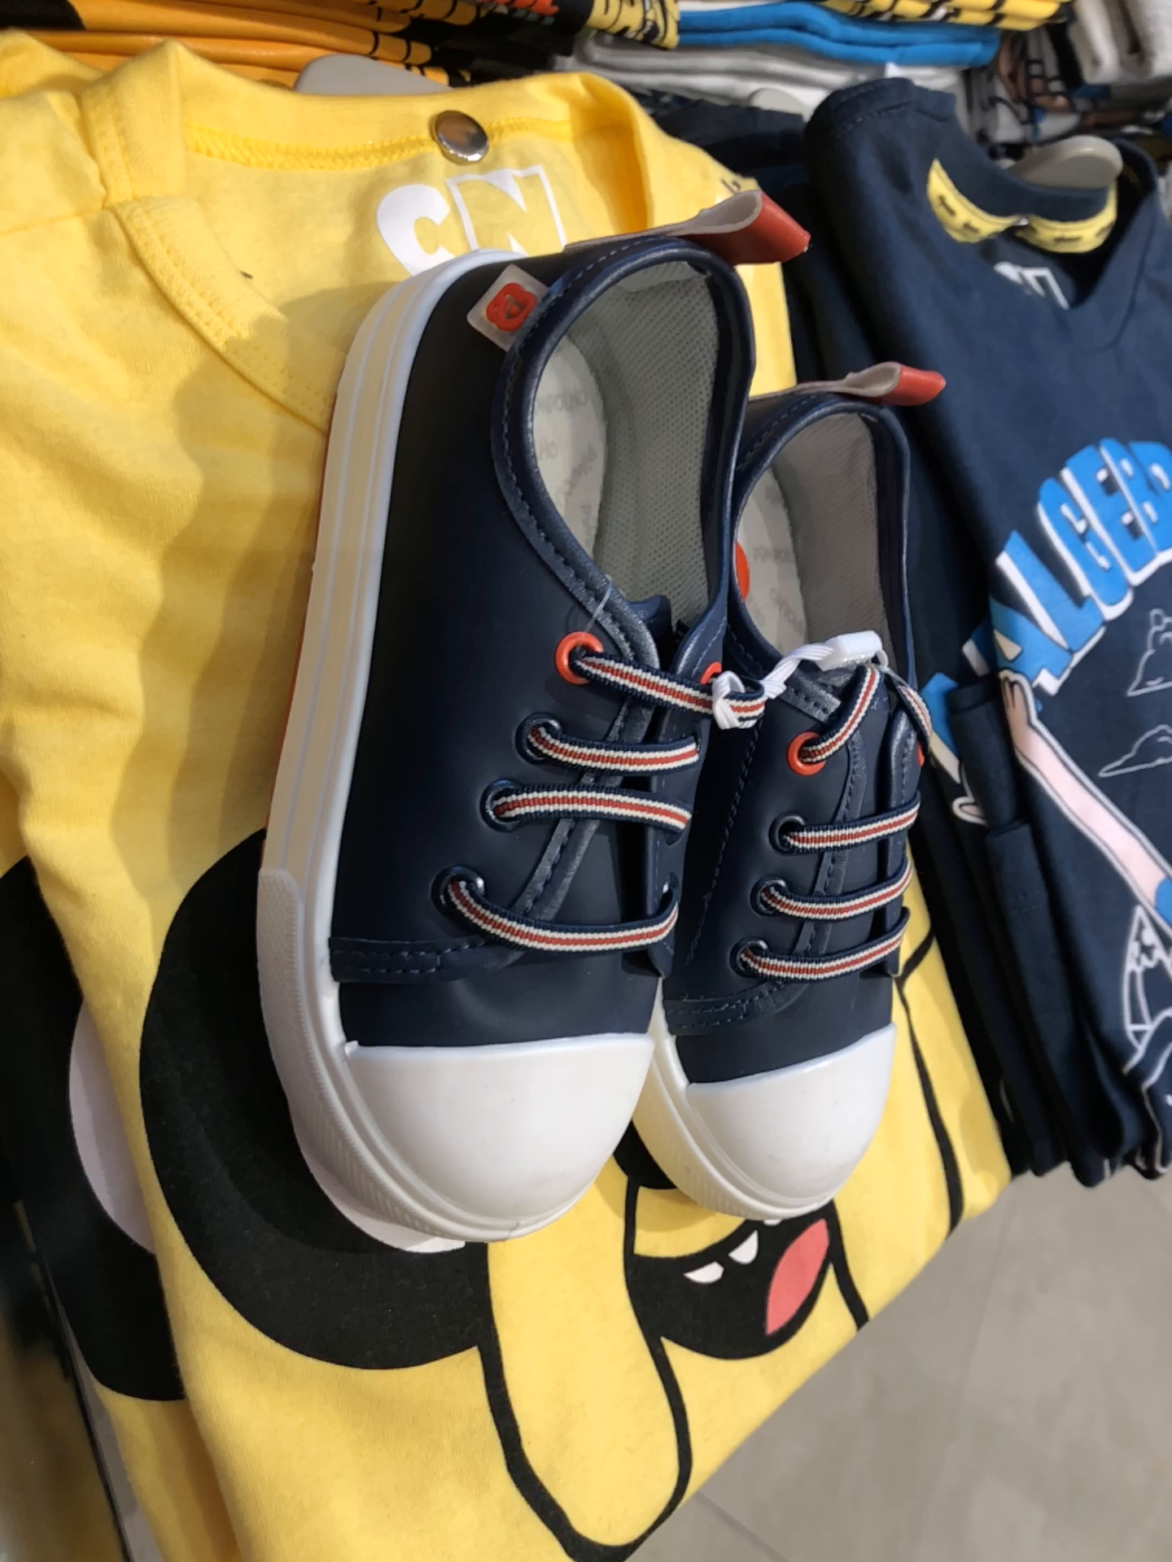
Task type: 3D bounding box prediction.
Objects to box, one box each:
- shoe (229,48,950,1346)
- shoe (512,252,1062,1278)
[{"bbox_3d":[0.002,-0.009,0.213,0.081,0.070,0.160,7,86,-42],"label":"shoe"},{"bbox_3d":[0.043,-0.004,0.269,0.081,0.070,0.170,-6,95,-43],"label":"shoe"}]
